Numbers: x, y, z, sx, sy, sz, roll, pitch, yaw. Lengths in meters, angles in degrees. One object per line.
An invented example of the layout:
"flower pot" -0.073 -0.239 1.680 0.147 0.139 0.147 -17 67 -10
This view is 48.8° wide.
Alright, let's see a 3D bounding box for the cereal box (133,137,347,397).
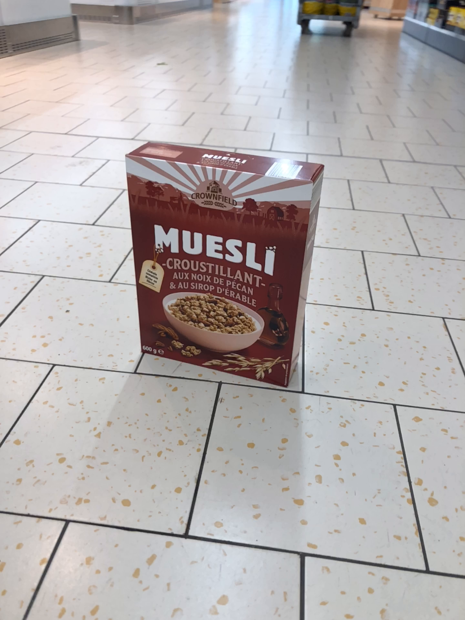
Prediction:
"cereal box" 0.002 -0.044 0.562 0.200 0.248 0.060 12 33 16
